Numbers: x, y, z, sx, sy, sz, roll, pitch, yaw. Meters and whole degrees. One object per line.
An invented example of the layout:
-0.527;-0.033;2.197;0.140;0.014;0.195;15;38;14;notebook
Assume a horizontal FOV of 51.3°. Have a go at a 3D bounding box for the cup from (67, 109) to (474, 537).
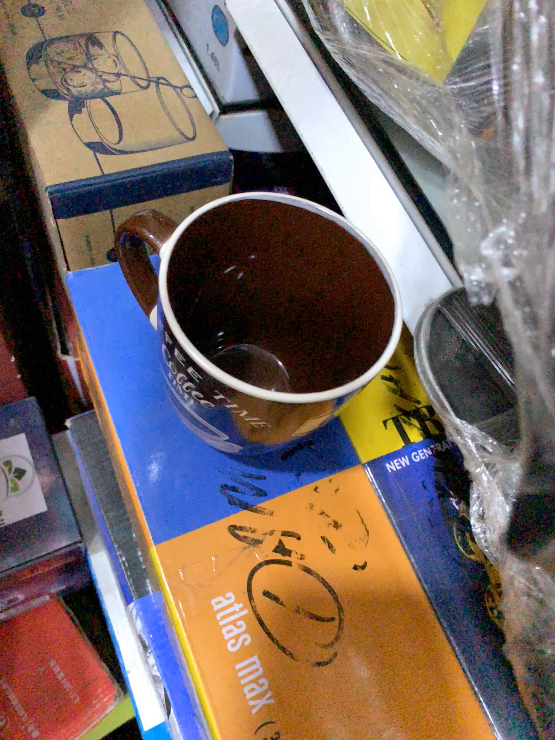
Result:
-0.009;-0.015;0.208;0.070;0.080;0.110;-34;75;-26;cup
